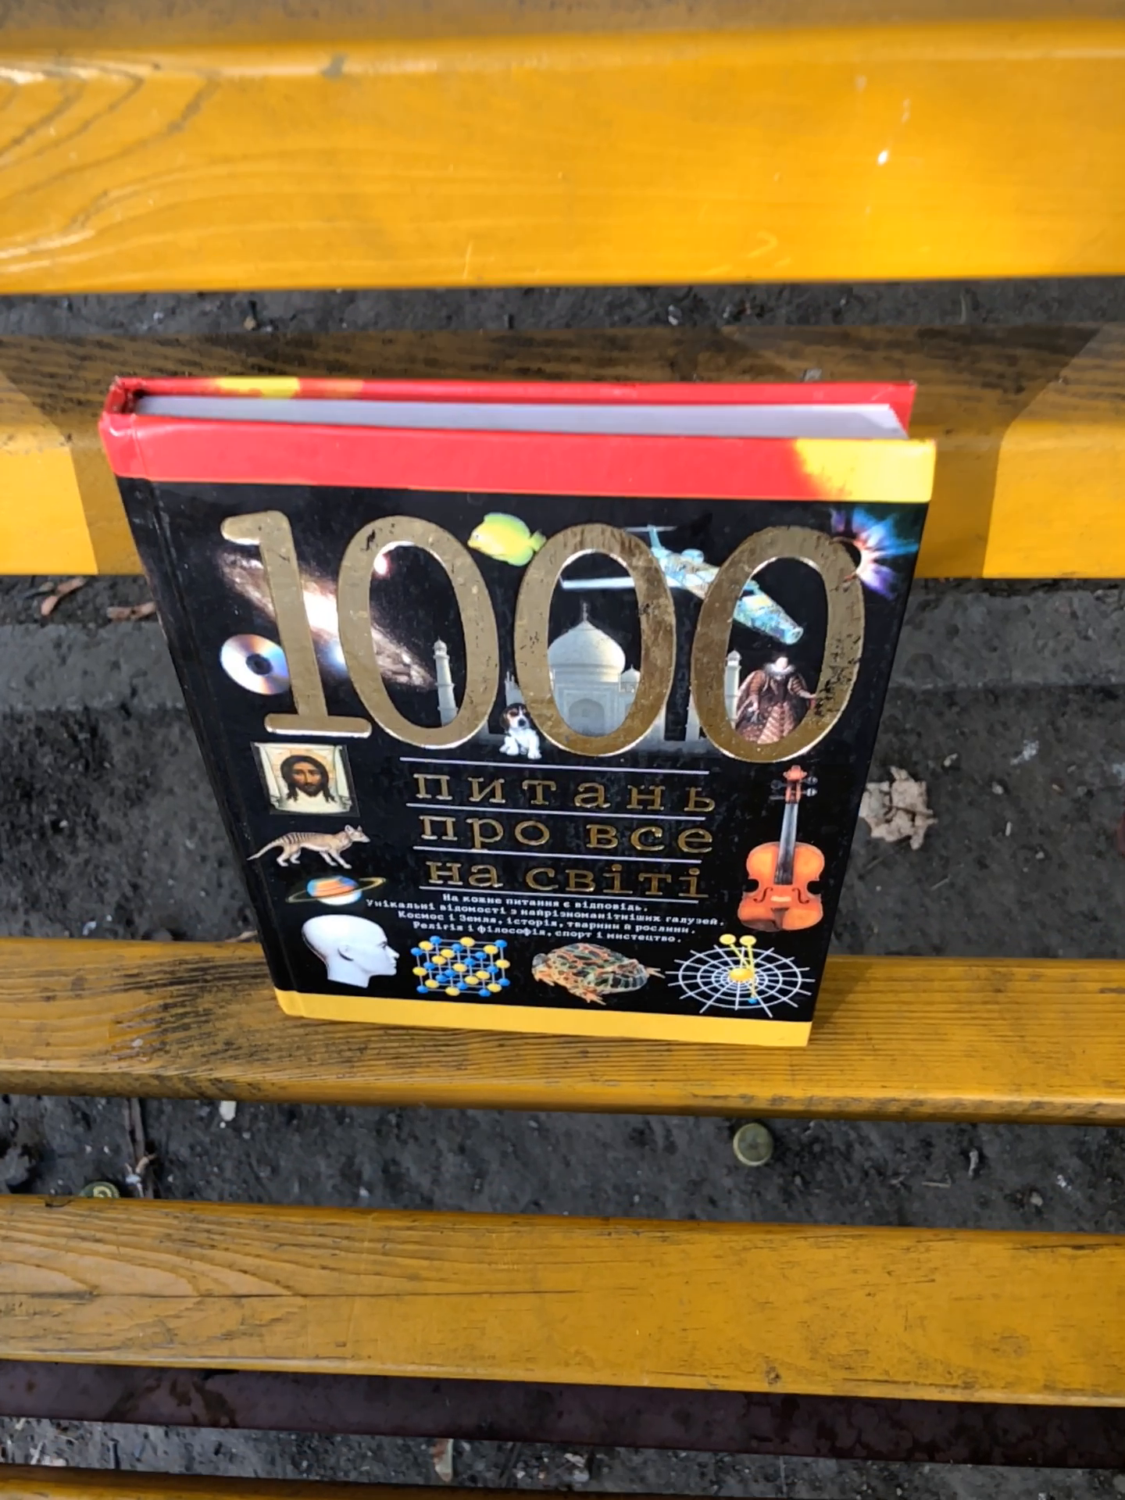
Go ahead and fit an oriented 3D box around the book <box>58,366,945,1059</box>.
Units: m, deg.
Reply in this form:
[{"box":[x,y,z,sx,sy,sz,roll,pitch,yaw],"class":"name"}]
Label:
[{"box":[-0.010,0.004,0.319,0.172,0.201,0.032,2,44,5],"class":"book"}]
